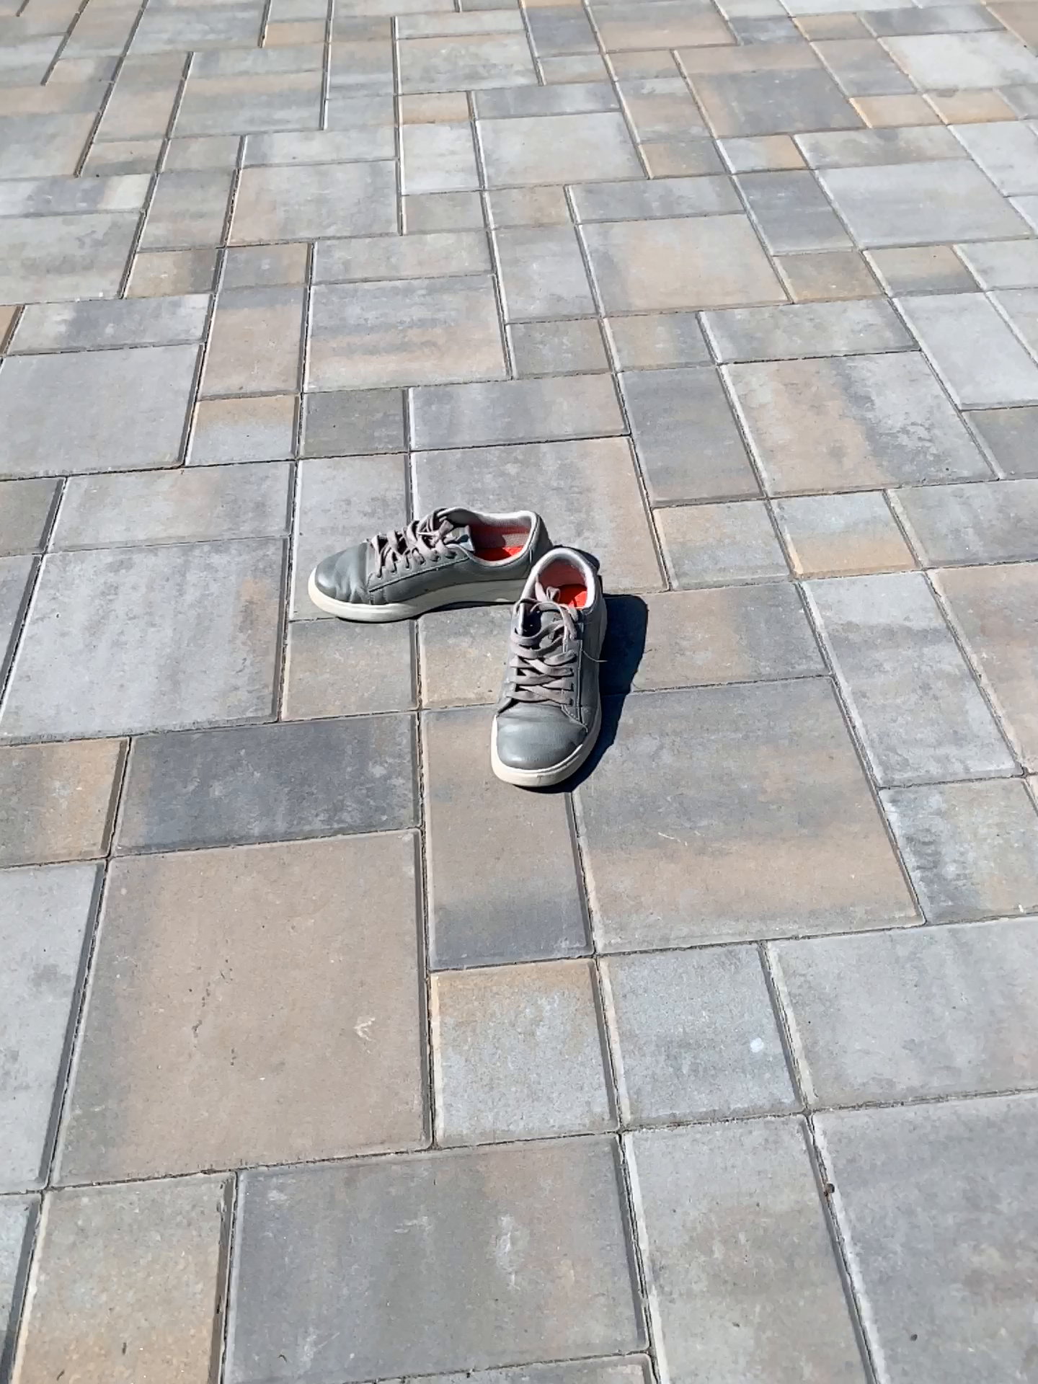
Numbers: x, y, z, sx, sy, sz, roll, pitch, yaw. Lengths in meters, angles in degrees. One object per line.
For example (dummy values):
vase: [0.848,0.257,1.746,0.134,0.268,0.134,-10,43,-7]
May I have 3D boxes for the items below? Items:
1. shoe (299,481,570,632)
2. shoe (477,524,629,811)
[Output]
shoe: [-0.099,-0.160,1.242,0.300,0.090,0.121,-6,49,-4]
shoe: [0.042,-0.035,1.127,0.120,0.110,0.301,5,49,6]
